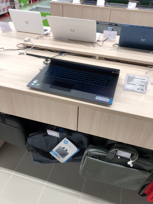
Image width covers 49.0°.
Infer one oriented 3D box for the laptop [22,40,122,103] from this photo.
[{"bbox_3d":[-0.006,-0.168,0.820,0.389,0.129,0.272,12,40,13],"label":"laptop"}]
